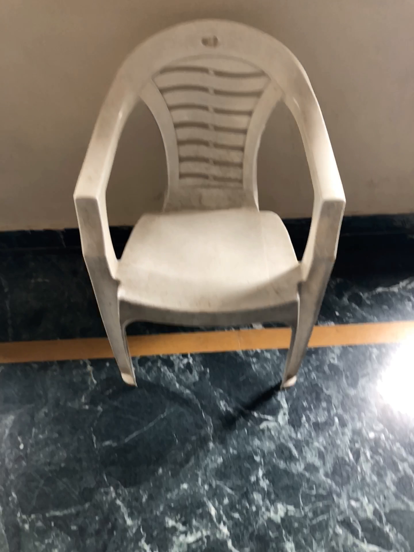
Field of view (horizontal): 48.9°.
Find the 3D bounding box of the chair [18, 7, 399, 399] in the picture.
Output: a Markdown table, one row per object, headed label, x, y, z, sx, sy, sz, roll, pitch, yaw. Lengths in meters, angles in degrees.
| label | x | y | z | sx | sy | sz | roll | pitch | yaw |
| --- | --- | --- | --- | --- | --- | --- | --- | --- | --- |
| chair | -0.004 | -0.160 | 1.189 | 0.580 | 0.775 | 0.624 | -2 | 48 | -1 |
